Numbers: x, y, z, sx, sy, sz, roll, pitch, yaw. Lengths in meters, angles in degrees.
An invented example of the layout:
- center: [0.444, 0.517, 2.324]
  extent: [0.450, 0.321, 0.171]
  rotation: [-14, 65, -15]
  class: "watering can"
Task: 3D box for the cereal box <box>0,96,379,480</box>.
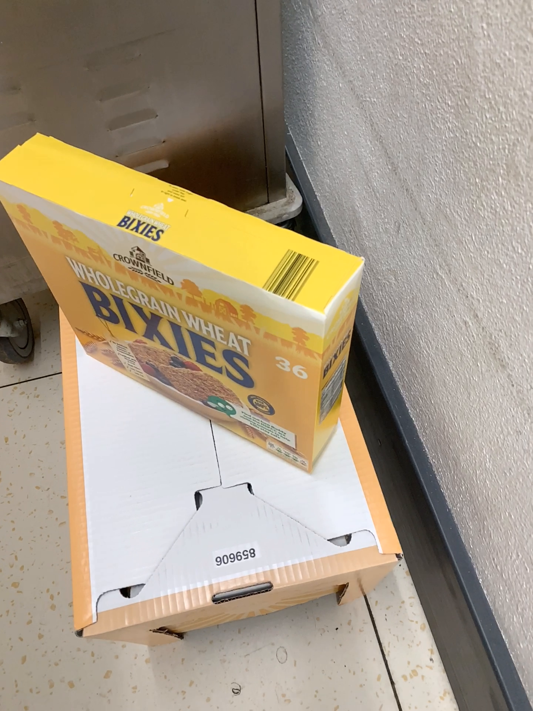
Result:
- center: [-0.070, -0.036, 0.464]
  extent: [0.291, 0.278, 0.070]
  rotation: [25, 65, 17]
  class: "cereal box"
